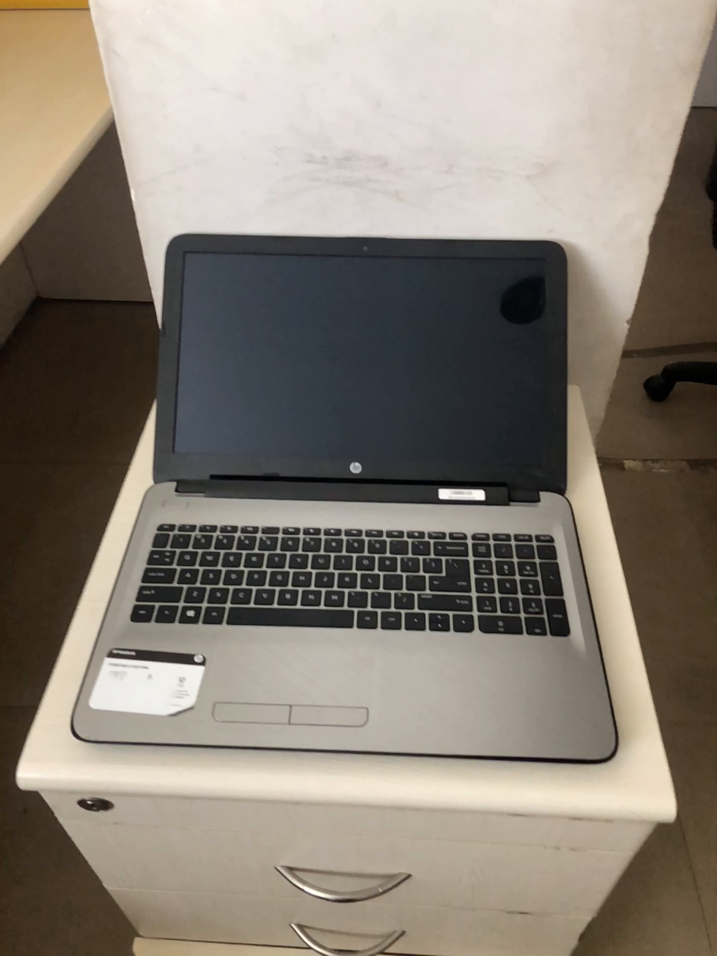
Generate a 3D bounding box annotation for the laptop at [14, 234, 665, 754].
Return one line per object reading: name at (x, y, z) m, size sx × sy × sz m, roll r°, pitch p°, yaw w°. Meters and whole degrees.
laptop at (-0.003, -0.023, 0.630) m, size 0.361 × 0.136 × 0.428 m, roll 1°, pitch 46°, yaw 2°
